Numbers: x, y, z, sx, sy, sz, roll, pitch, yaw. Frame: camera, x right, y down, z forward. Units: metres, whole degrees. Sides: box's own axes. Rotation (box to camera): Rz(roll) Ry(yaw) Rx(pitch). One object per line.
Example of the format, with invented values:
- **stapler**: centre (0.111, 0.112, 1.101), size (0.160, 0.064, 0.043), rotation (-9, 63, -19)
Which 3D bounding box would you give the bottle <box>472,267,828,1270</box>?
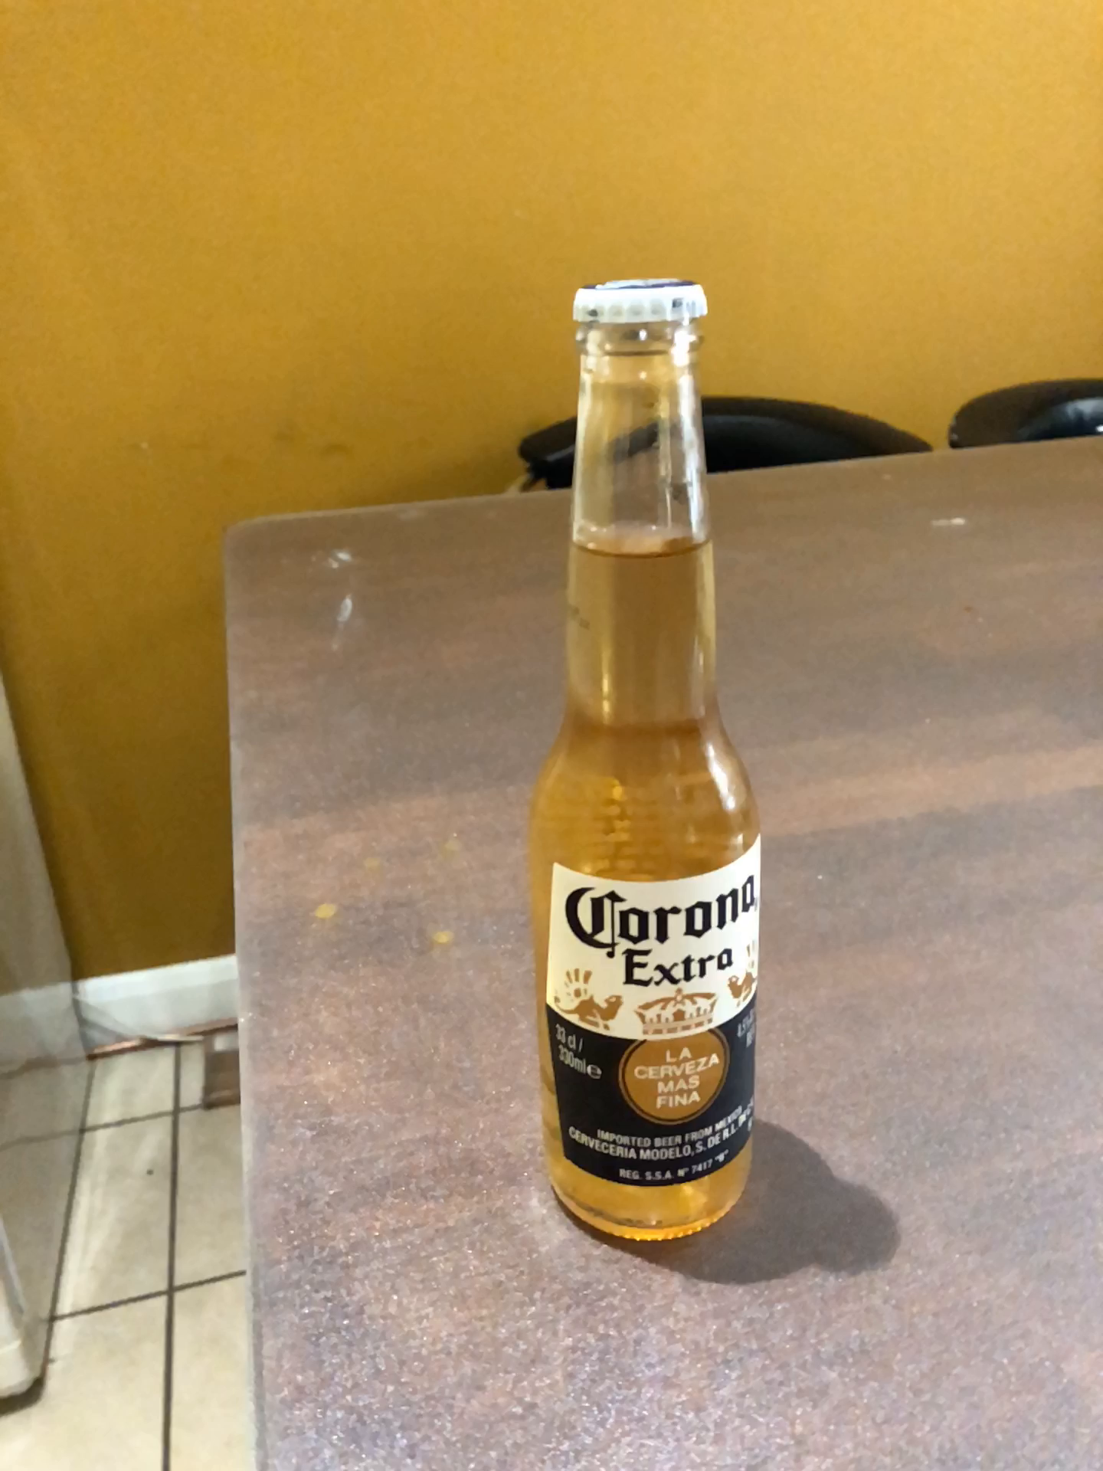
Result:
- **bottle**: centre (0.021, 0.015, 0.302), size (0.060, 0.238, 0.060), rotation (-2, 24, 1)
